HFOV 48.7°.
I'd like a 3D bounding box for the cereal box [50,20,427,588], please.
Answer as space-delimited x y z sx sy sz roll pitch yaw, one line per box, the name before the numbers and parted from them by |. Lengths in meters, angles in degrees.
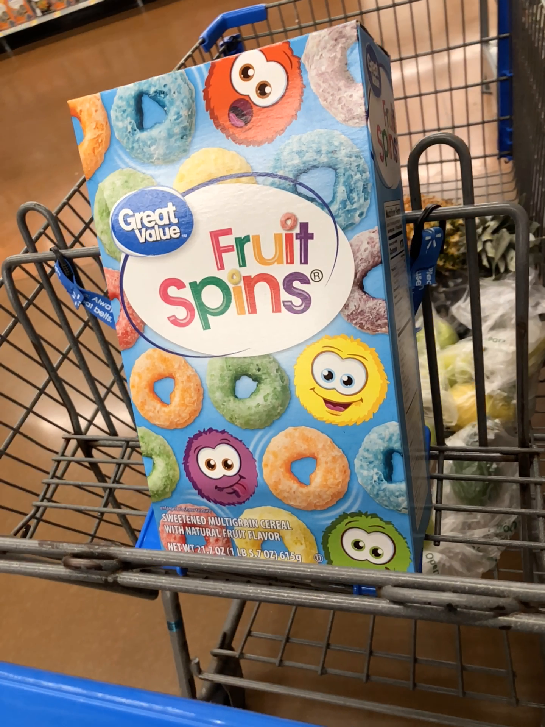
cereal box | -0.010 -0.024 0.432 0.200 0.340 0.090 -3 15 22
